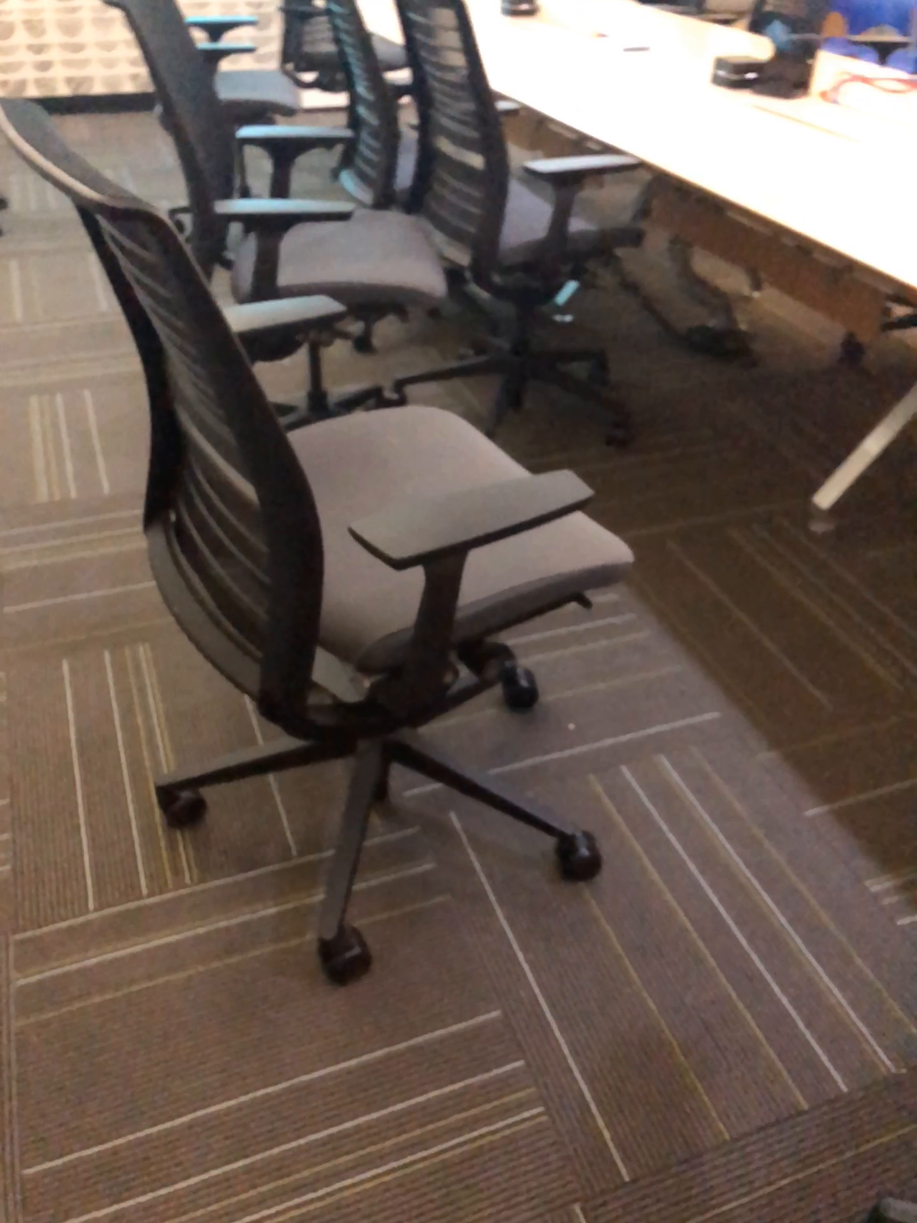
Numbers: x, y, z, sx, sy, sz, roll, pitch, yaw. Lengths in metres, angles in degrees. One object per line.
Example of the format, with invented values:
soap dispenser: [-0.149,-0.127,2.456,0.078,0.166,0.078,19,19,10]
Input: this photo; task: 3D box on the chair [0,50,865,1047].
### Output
chair: [-0.113,-0.151,1.269,0.661,0.856,0.723,-19,40,-27]
